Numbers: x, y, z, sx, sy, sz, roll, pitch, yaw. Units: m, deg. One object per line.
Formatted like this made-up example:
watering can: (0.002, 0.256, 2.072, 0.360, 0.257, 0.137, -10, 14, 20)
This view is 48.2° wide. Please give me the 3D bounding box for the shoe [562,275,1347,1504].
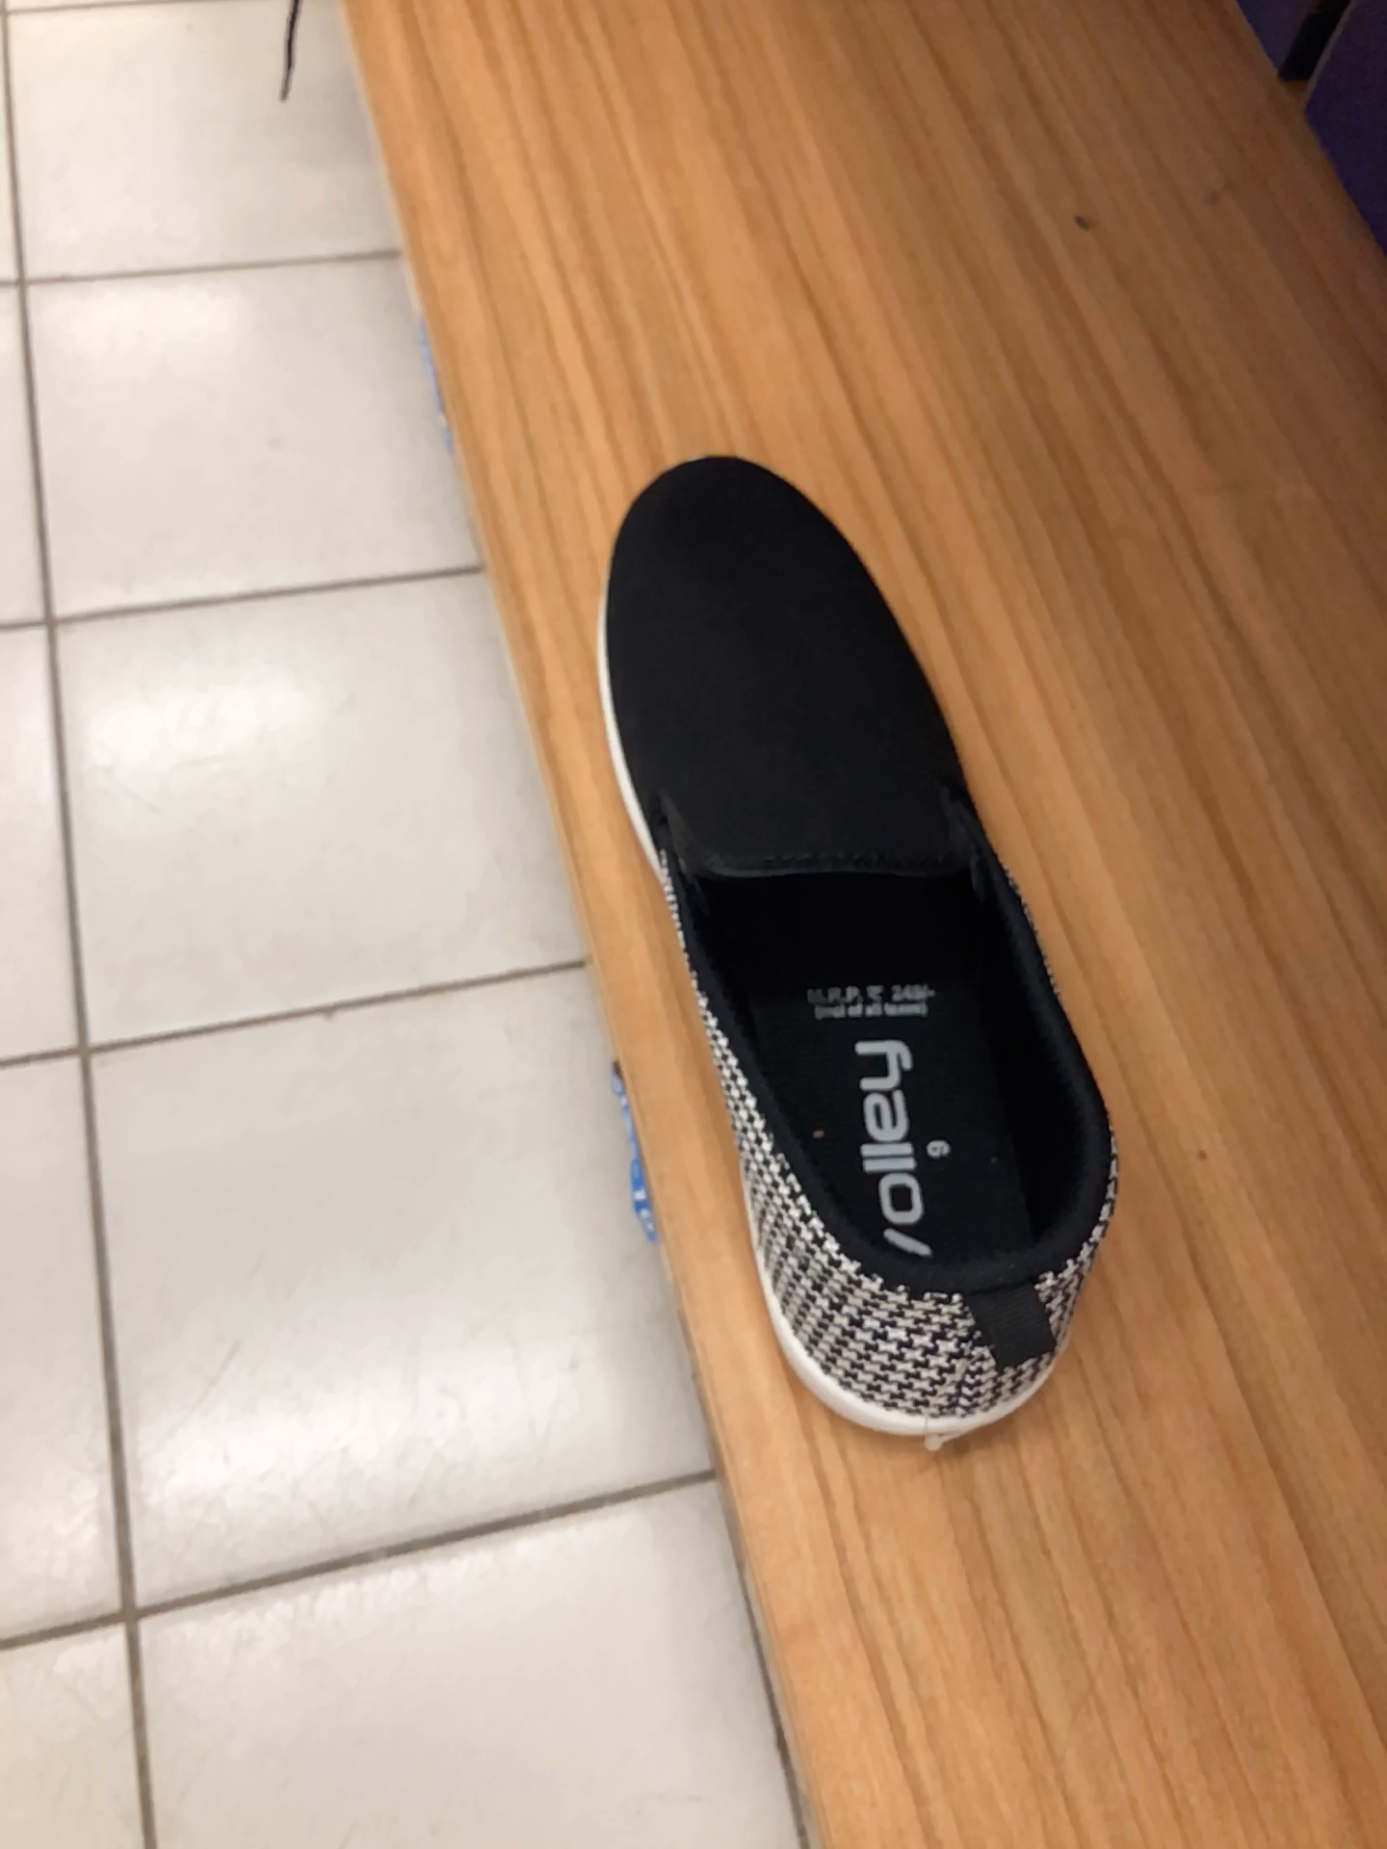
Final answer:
shoe: (0.044, -0.020, 0.392, 0.100, 0.090, 0.291, -9, 66, -11)
